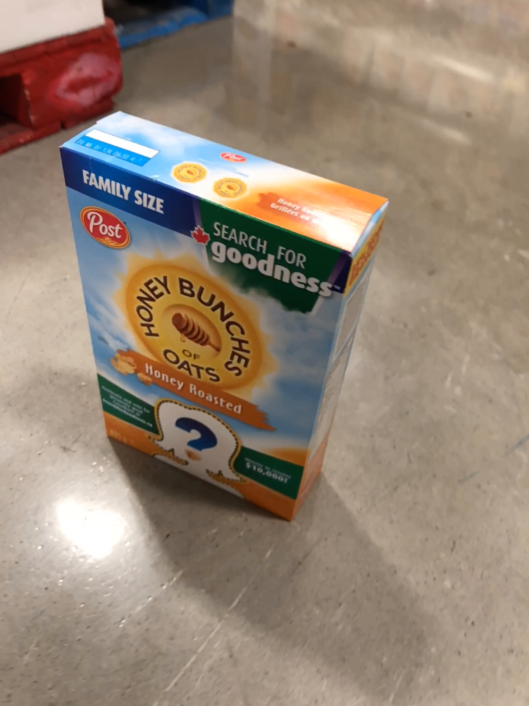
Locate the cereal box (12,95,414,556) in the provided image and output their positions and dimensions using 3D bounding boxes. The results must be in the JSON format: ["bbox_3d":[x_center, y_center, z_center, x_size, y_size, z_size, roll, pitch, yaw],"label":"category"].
[{"bbox_3d":[-0.041,0.005,0.433,0.210,0.309,0.070,22,49,14],"label":"cereal box"}]
